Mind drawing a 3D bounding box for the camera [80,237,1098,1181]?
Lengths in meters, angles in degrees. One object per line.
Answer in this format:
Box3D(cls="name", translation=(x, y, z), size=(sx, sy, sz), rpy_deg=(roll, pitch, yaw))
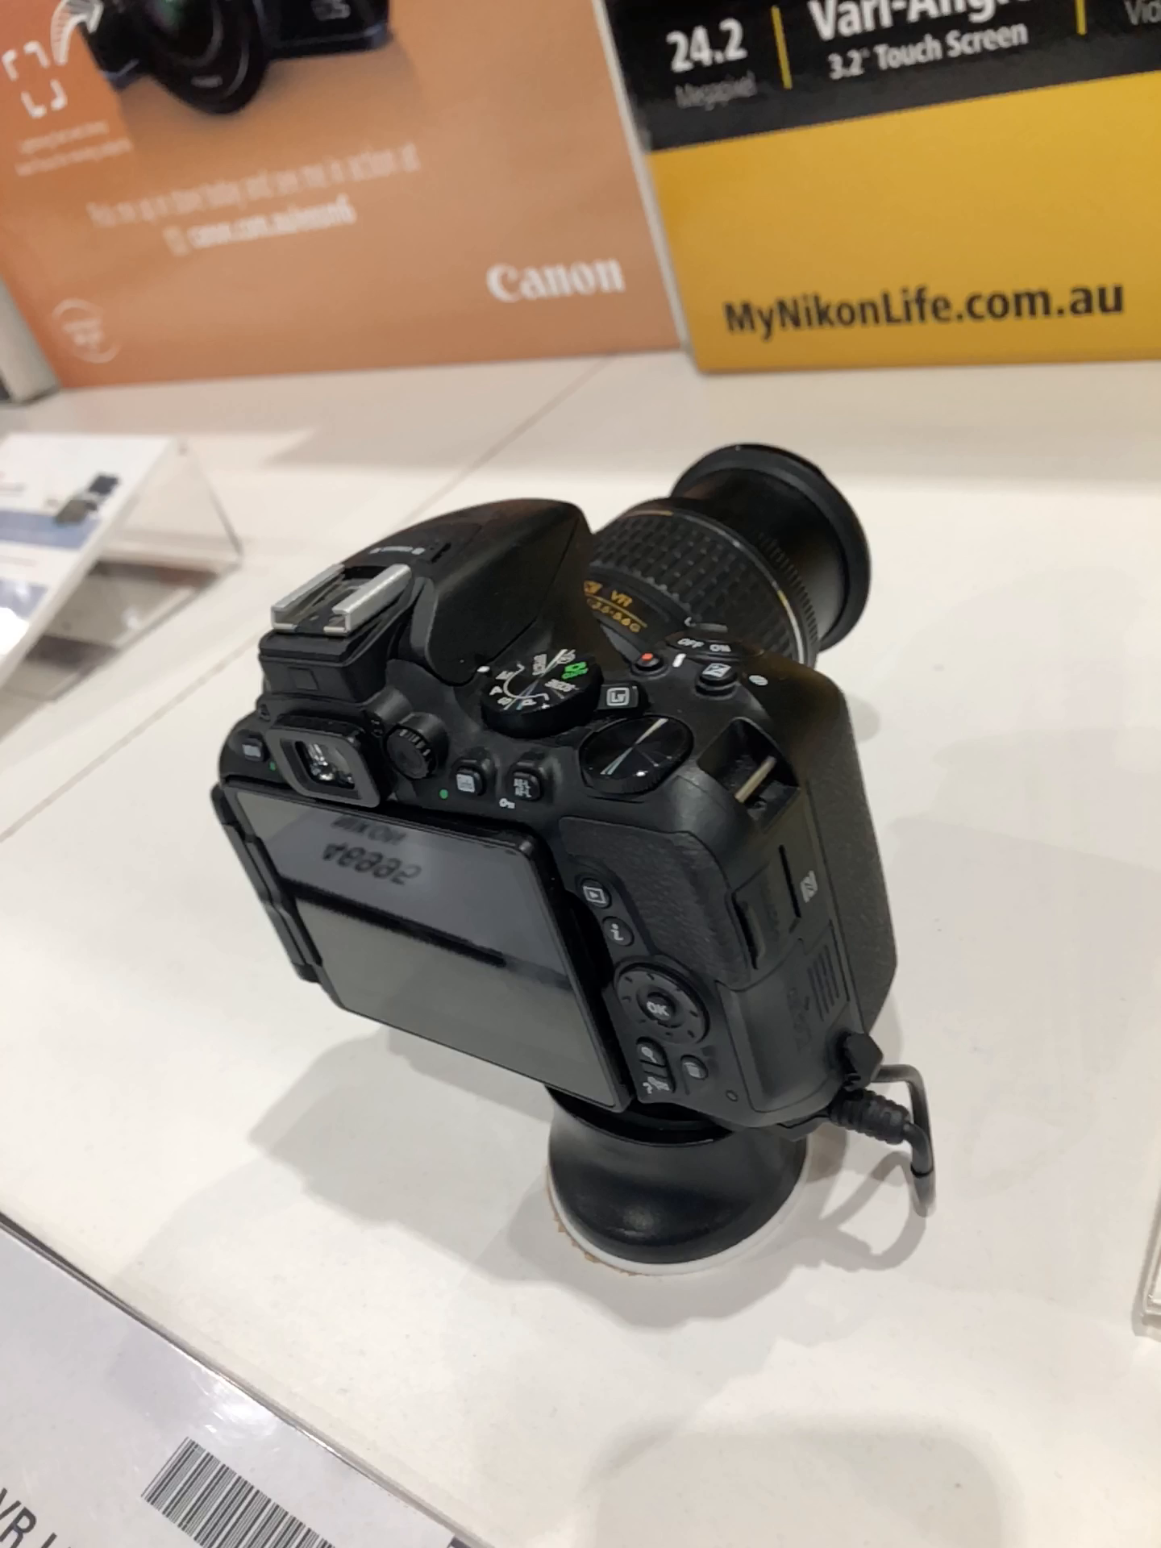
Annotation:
Box3D(cls="camera", translation=(0.015, -0.029, 0.276), size=(0.128, 0.097, 0.163), rpy_deg=(10, 44, 37))
